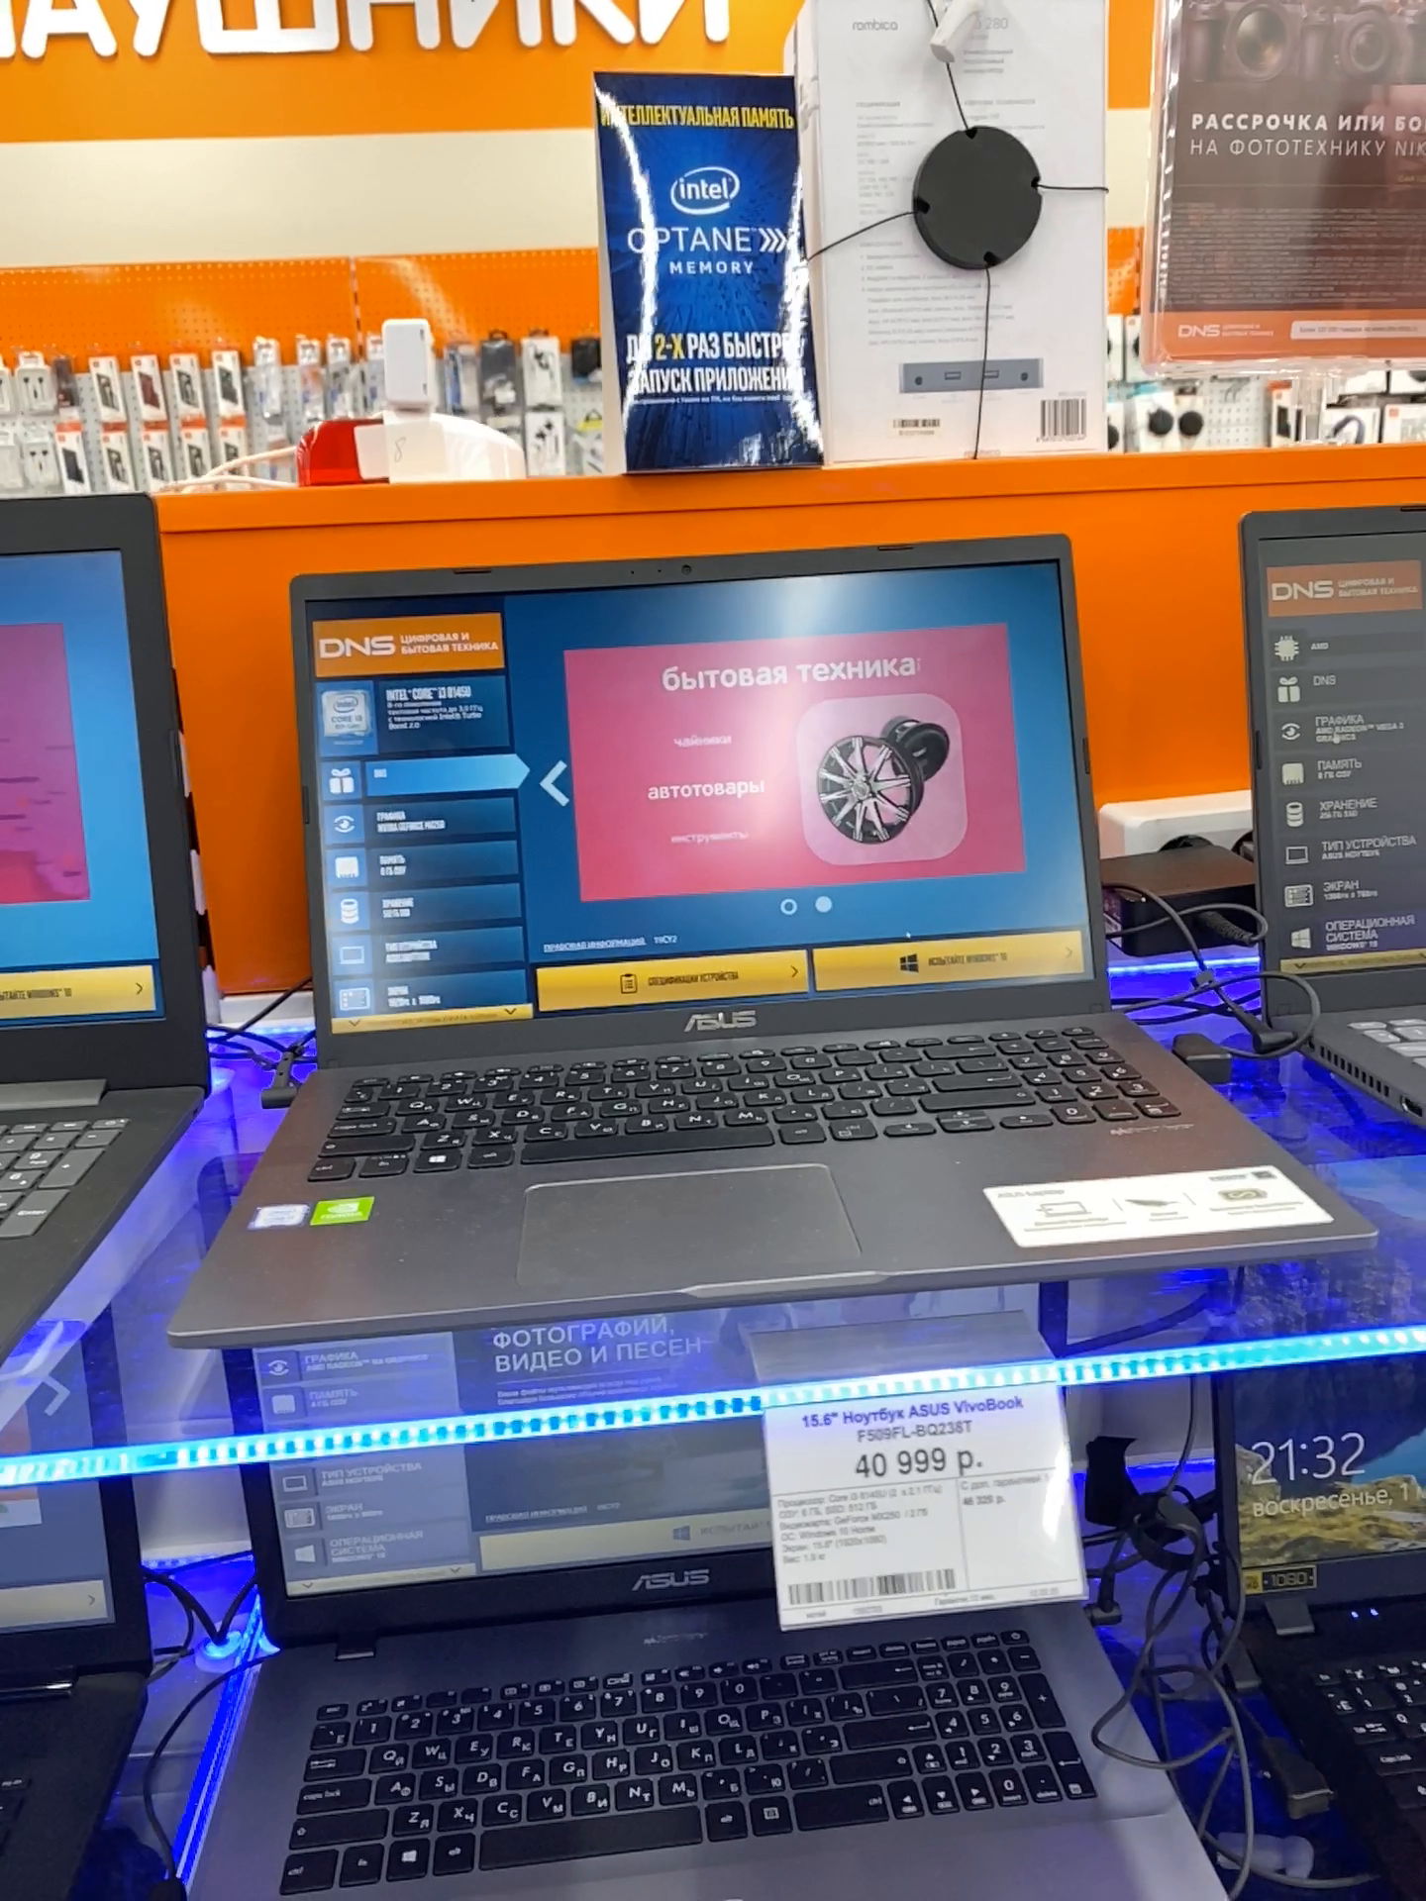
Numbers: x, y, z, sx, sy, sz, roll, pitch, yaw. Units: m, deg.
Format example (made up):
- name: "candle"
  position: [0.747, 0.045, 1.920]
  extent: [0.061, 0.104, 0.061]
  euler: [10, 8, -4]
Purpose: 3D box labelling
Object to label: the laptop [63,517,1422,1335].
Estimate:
- name: "laptop"
  position: [0.006, -0.042, 0.553]
  extent: [0.357, 0.211, 0.307]
  euler: [-3, 14, -4]
